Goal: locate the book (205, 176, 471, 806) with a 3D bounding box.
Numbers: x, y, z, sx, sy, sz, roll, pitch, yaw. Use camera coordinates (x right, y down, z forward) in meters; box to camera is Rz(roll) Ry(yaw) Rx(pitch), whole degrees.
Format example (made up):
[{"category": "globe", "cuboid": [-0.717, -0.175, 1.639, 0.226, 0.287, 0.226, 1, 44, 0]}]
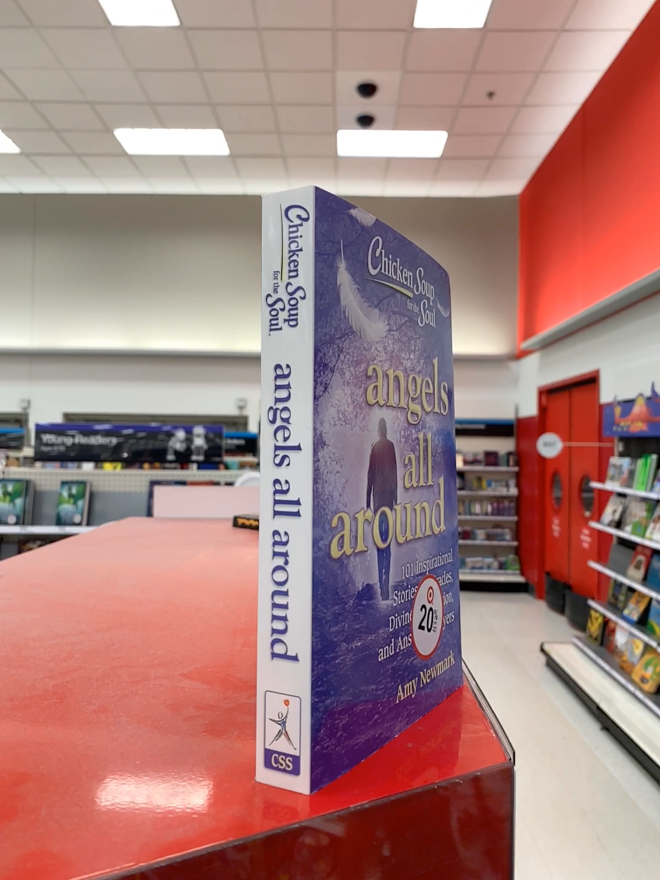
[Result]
[{"category": "book", "cuboid": [0.012, 0.016, 0.300, 0.041, 0.211, 0.142, -4, -3, 33]}]
